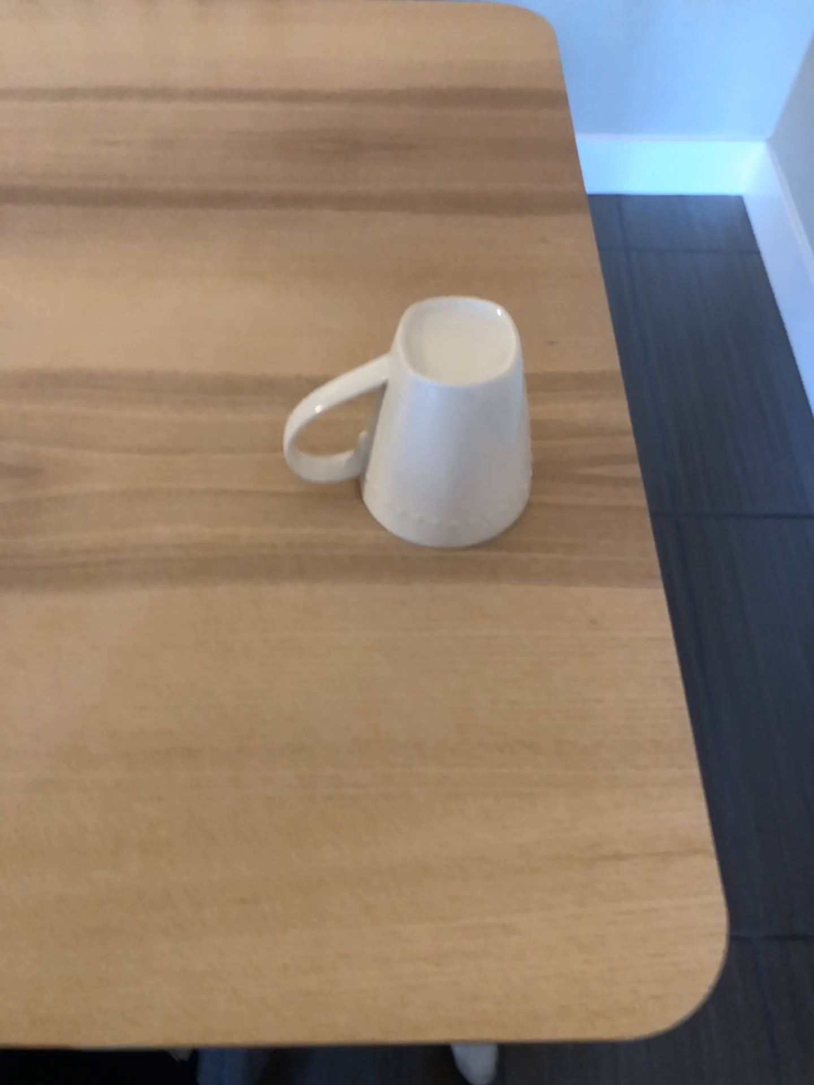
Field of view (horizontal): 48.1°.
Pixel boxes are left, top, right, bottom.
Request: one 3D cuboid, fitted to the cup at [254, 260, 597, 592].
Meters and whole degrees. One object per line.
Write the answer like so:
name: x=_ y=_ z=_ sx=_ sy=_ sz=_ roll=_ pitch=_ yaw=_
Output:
cup: x=0.003 y=-0.056 z=0.459 sx=0.140 sy=0.120 sz=0.100 roll=-6 pitch=58 yaw=-6
